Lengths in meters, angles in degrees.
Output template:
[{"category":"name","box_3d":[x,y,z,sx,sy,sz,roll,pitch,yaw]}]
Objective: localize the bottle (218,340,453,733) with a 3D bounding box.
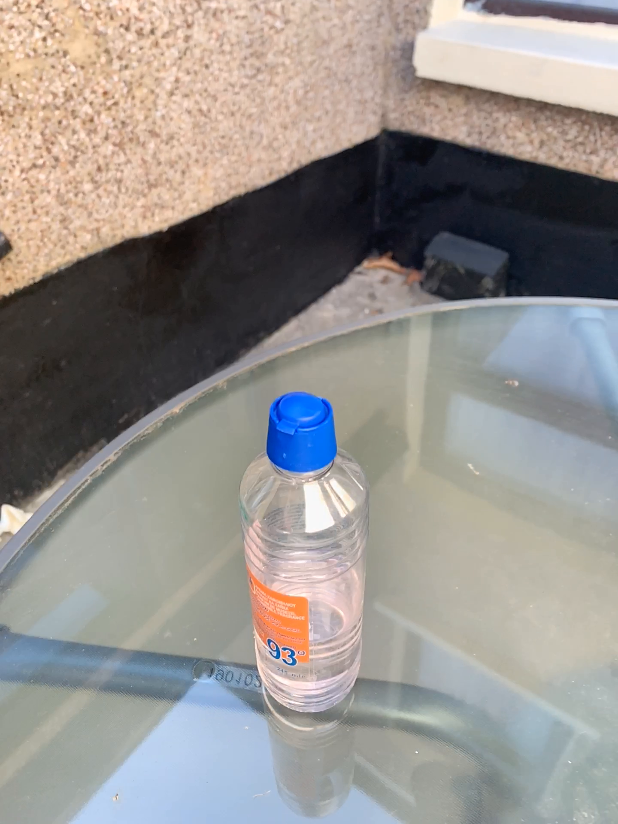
[{"category":"bottle","box_3d":[0.006,0.058,0.265,0.060,0.158,0.061,1,40,0]}]
